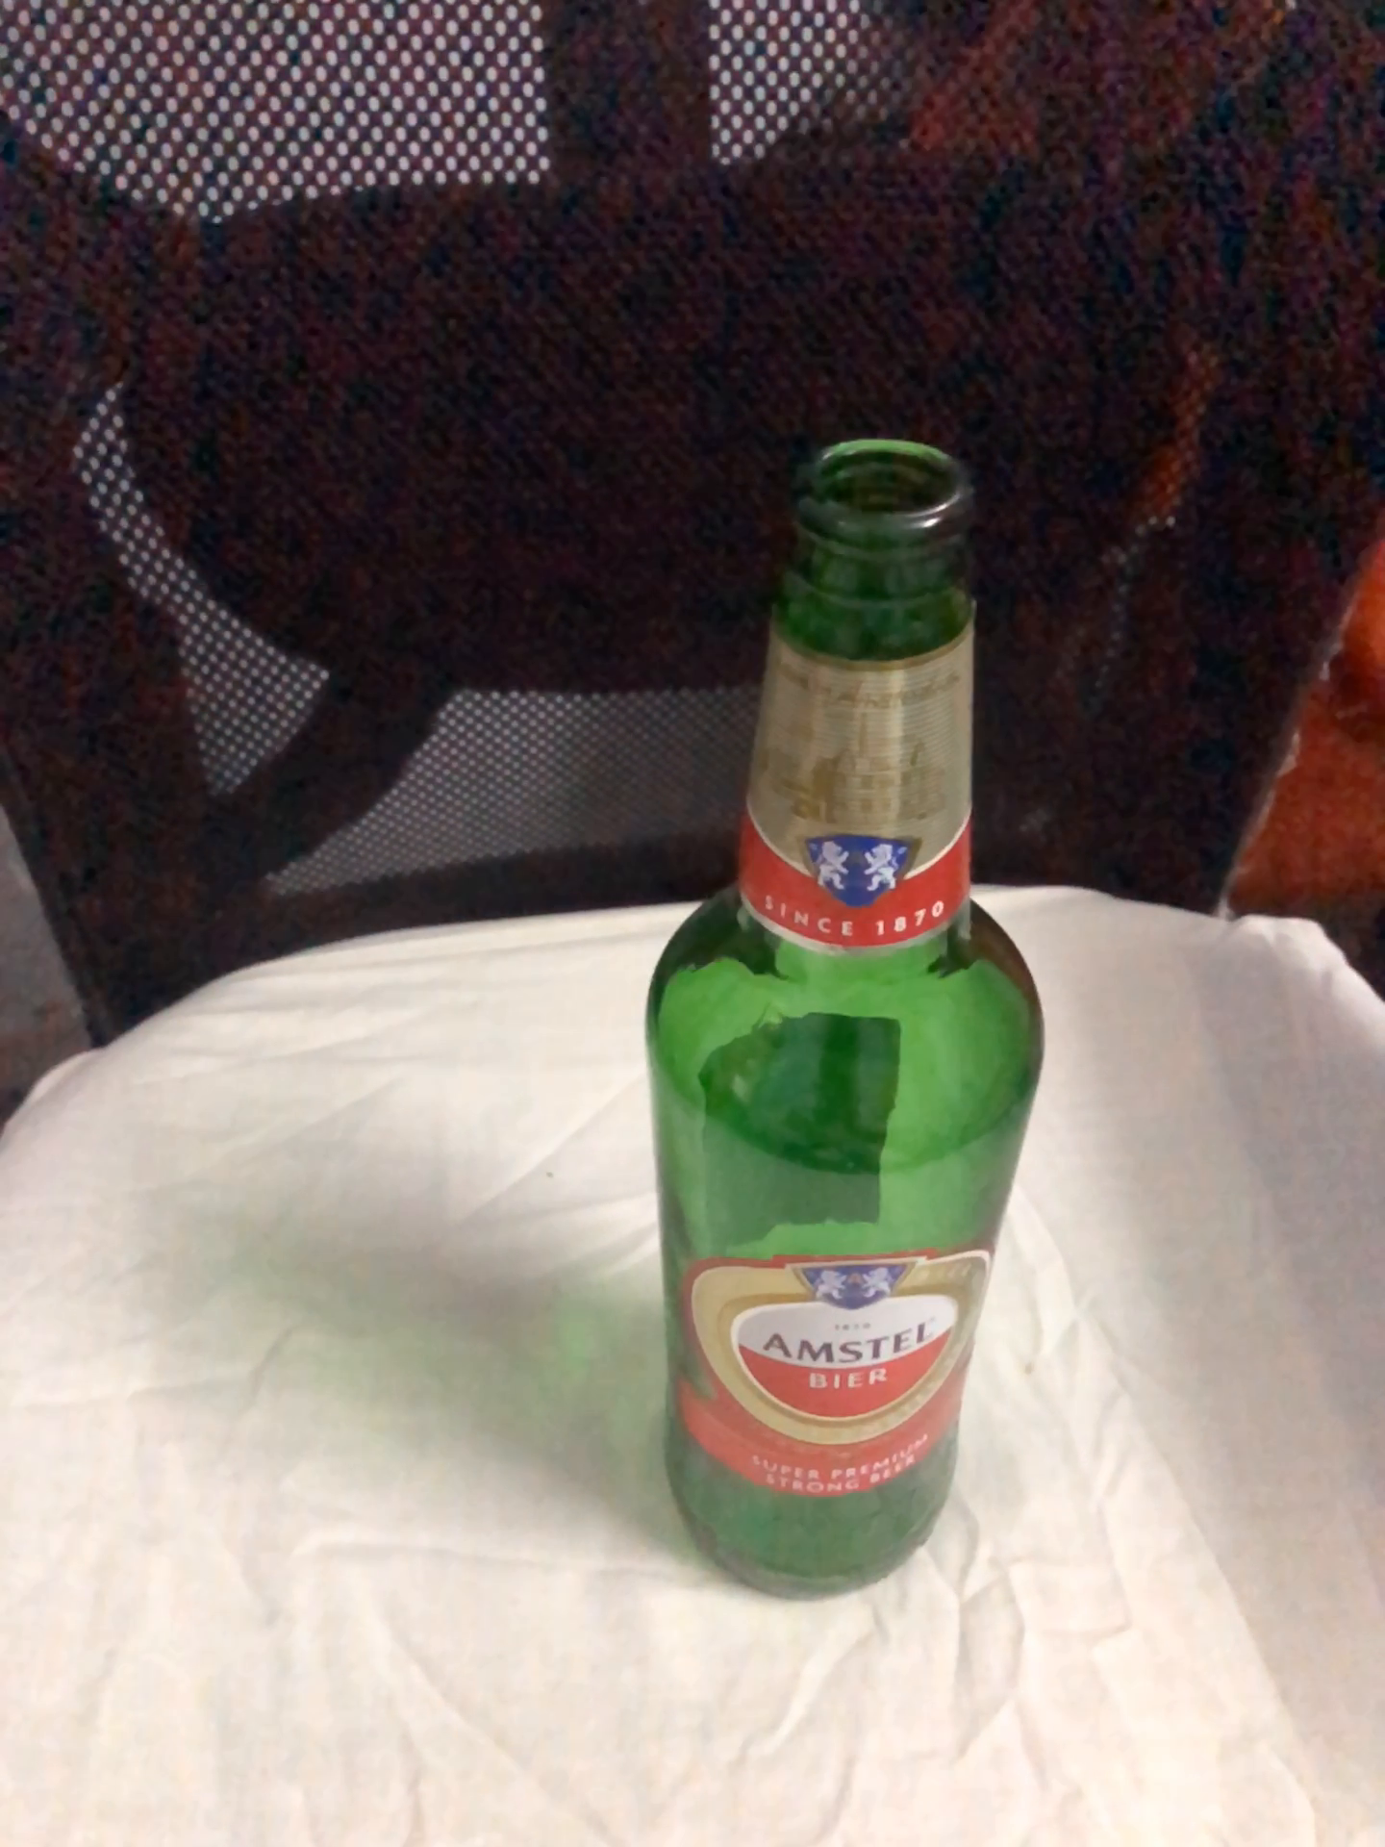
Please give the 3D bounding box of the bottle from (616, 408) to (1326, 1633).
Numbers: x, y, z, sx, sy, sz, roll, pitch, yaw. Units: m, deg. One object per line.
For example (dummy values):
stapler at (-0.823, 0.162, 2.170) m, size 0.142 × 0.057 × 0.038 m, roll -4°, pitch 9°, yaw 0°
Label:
bottle at (0.028, 0.047, 0.298) m, size 0.080 × 0.279 × 0.060 m, roll -3°, pitch 45°, yaw -6°
